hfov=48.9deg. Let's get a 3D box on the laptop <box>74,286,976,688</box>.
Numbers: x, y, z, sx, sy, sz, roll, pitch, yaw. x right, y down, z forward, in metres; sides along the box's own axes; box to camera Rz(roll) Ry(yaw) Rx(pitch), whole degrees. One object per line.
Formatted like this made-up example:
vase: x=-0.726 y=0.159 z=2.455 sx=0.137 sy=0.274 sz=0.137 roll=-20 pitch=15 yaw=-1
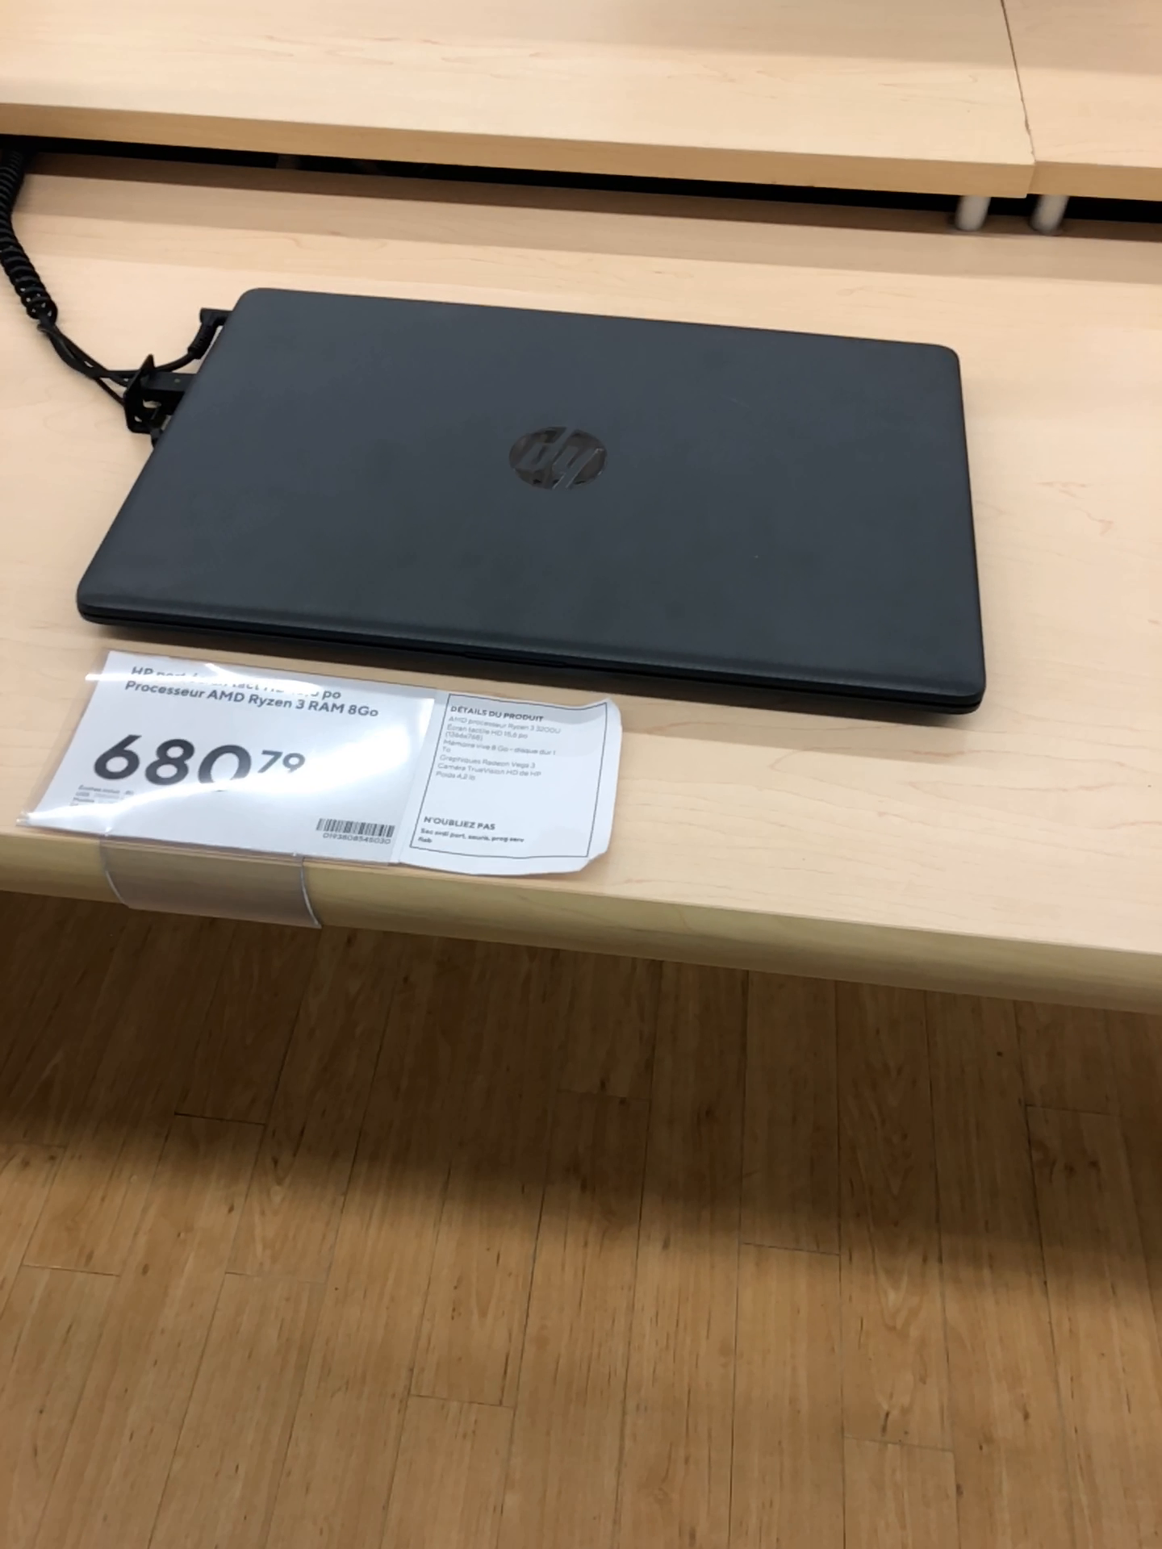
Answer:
laptop: x=-0.010 y=-0.149 z=0.602 sx=0.373 sy=0.005 sz=0.245 roll=6 pitch=50 yaw=4
